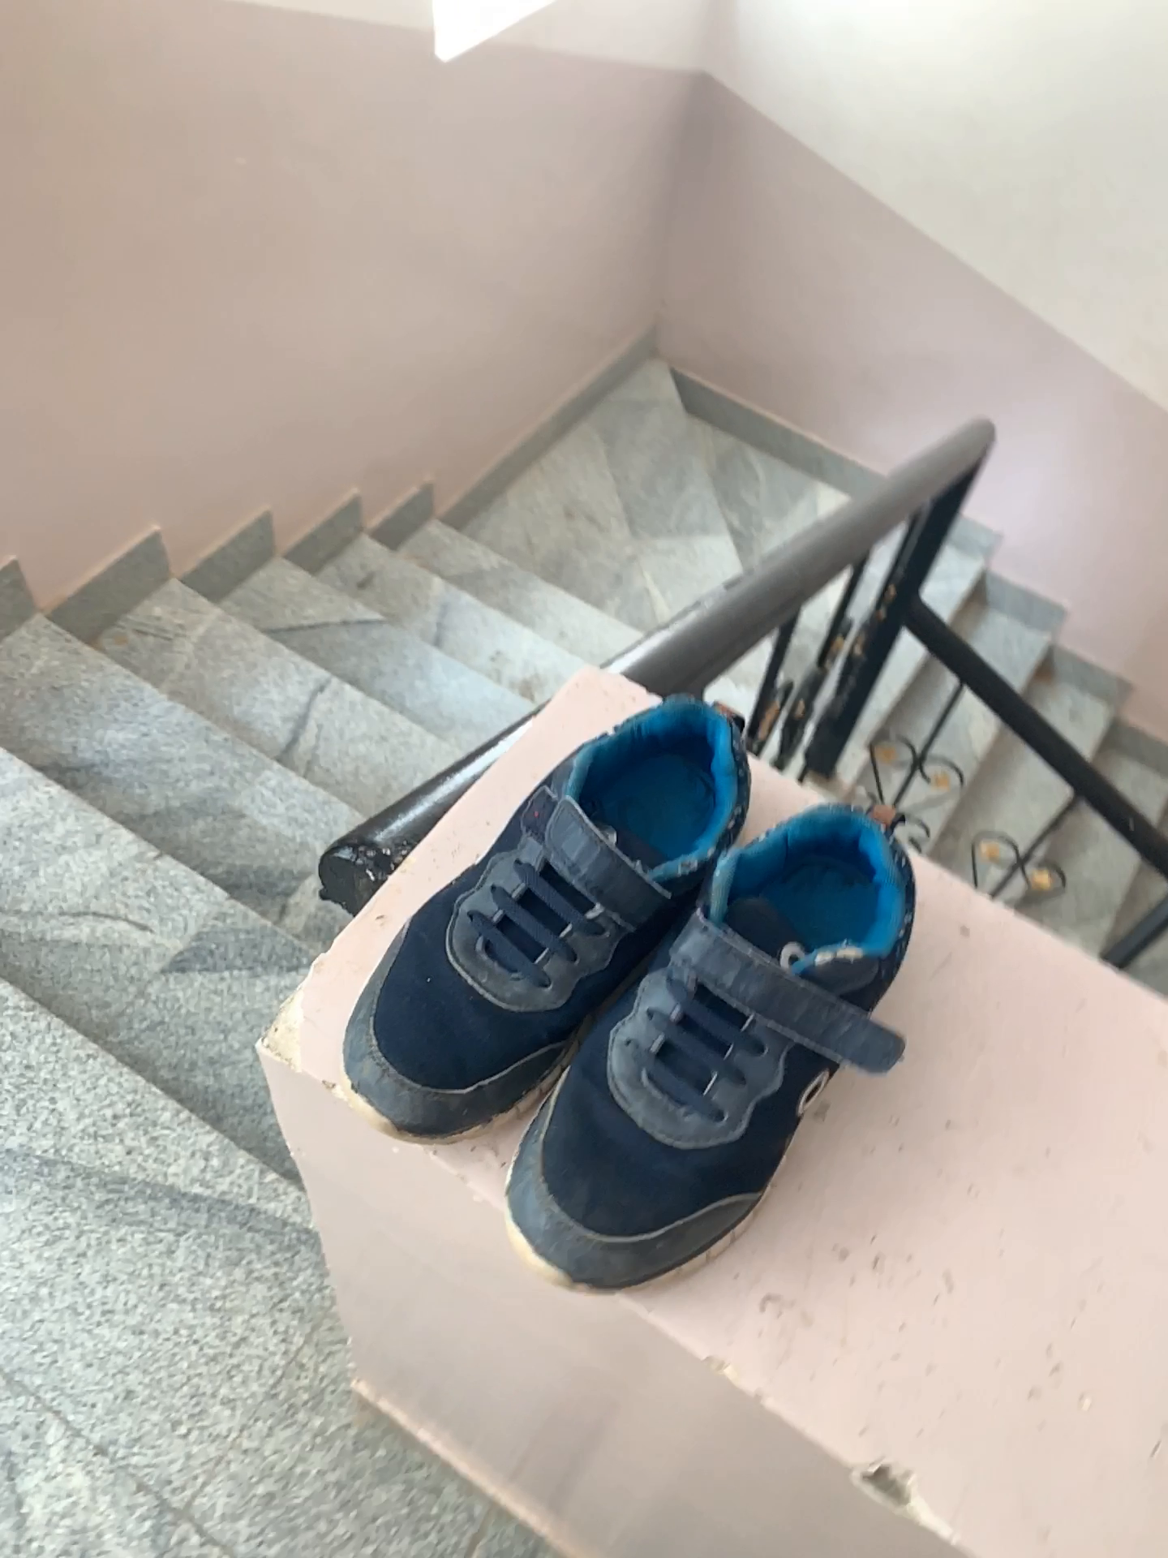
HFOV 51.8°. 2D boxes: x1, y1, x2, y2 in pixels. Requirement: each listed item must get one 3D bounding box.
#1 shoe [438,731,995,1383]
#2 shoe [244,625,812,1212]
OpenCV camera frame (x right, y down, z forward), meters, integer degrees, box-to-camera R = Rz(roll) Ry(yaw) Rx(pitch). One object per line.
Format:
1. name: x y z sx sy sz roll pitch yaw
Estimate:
1. shoe: 0.054 0.098 0.468 0.100 0.079 0.221 34 58 16
2. shoe: -0.015 0.047 0.483 0.090 0.079 0.221 37 58 18
